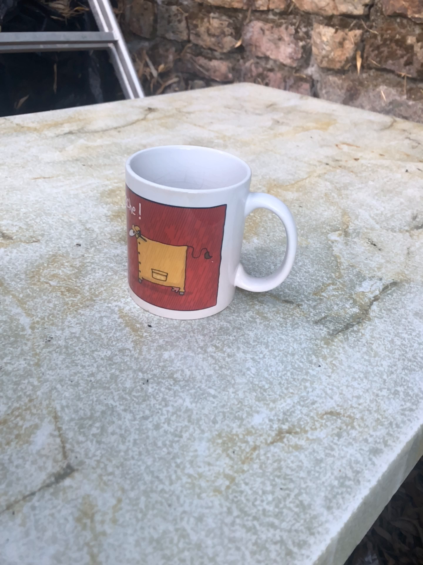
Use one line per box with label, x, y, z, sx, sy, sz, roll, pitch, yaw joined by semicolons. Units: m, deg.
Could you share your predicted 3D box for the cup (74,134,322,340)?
cup;-0.003;-0.033;0.296;0.129;0.083;0.087;8;34;7
